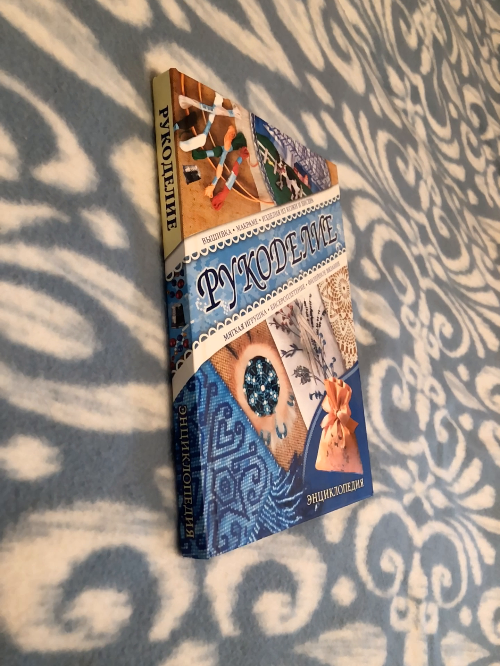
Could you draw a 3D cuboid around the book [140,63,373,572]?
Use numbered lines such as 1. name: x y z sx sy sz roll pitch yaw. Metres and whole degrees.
1. book: 0.013 -0.008 0.327 0.169 0.020 0.237 5 77 -52
